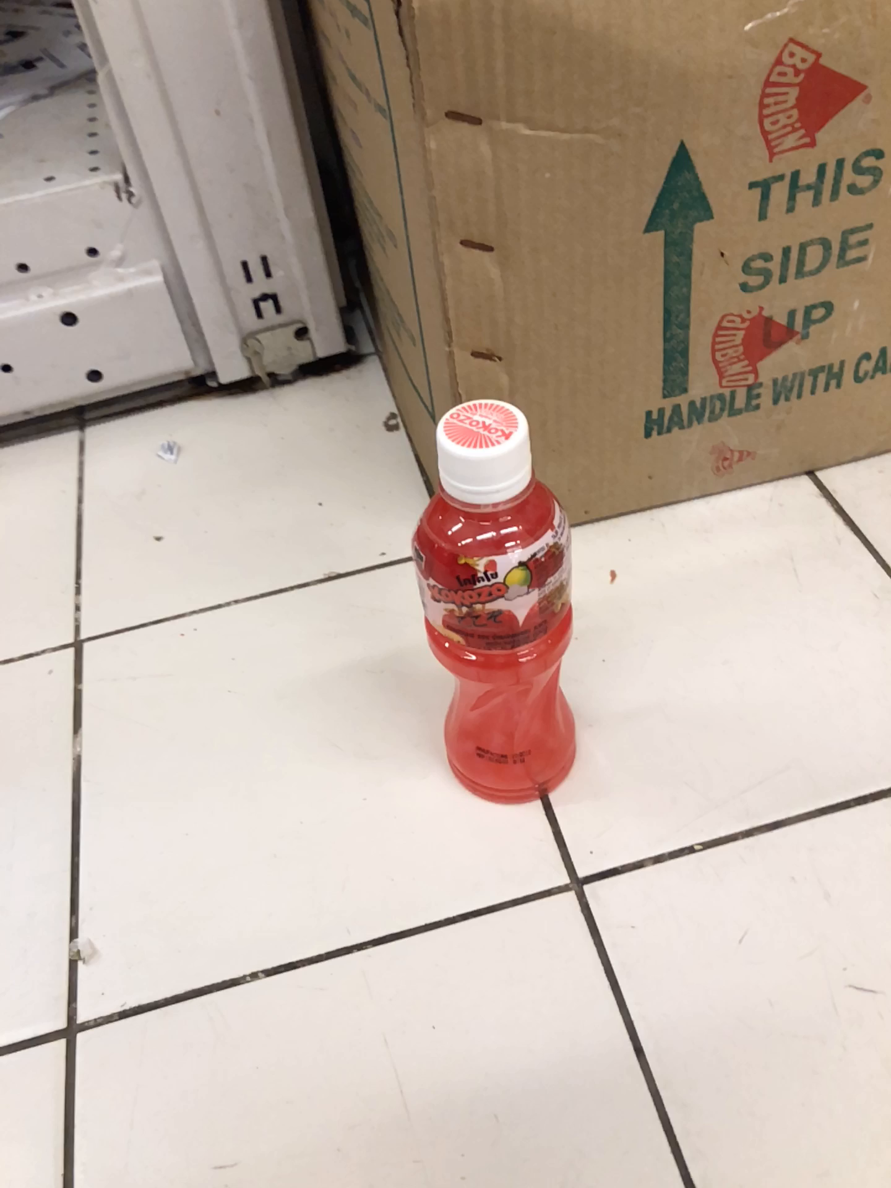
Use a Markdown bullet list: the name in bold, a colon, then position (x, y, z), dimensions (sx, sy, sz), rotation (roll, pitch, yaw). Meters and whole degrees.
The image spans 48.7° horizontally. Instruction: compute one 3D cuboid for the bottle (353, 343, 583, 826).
- **bottle**: position (0.014, 0.008, 0.376), dimensions (0.060, 0.189, 0.060), rotation (-4, 46, 5)
